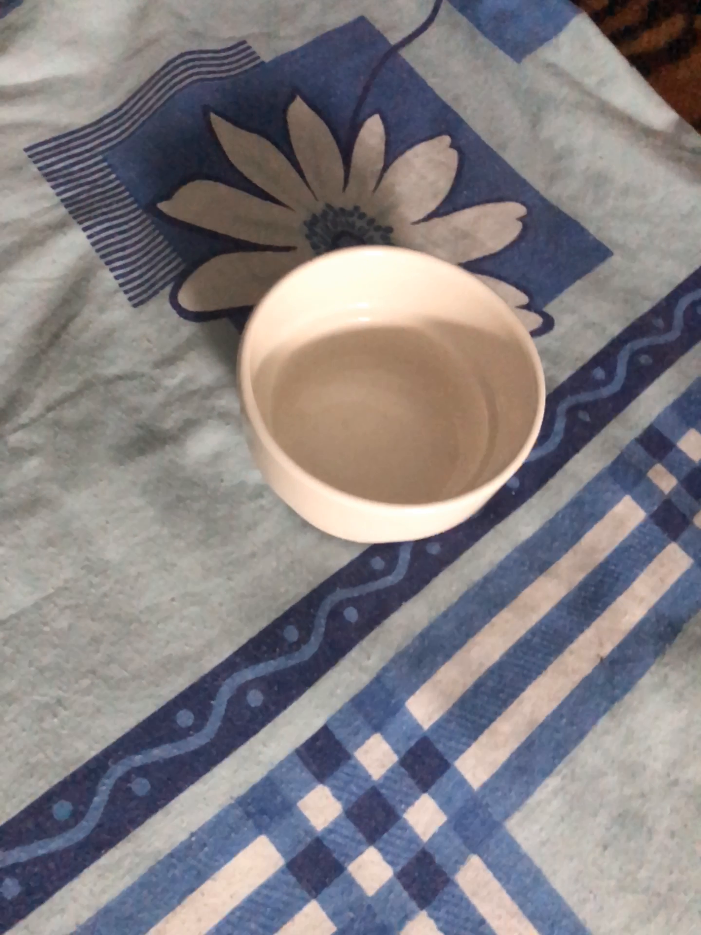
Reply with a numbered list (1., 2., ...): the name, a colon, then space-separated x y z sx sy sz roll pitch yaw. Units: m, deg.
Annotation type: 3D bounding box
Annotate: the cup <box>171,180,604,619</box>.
1. cup: 0.007 -0.019 0.223 0.077 0.047 0.091 -27 75 -15
